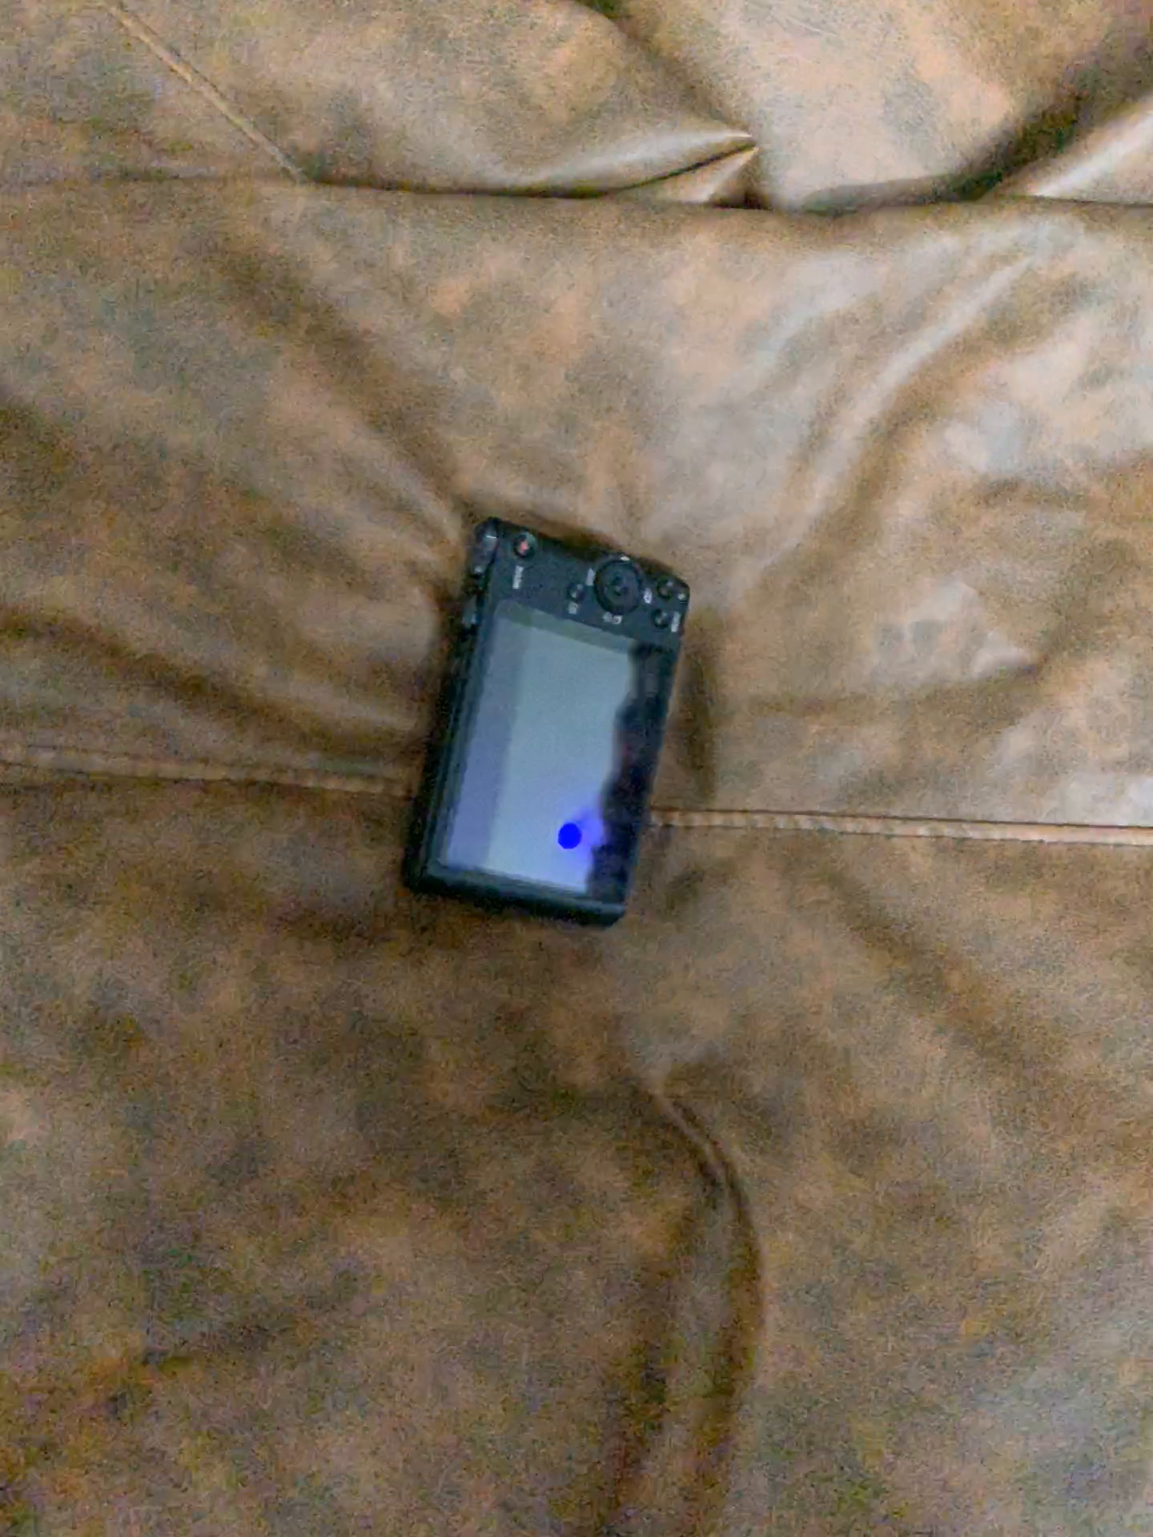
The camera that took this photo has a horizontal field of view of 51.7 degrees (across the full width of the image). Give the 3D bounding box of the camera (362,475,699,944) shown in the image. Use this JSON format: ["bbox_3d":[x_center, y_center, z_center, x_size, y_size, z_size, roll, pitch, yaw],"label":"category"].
[{"bbox_3d":[-0.011,-0.013,0.292,0.060,0.024,0.100,13,83,-13],"label":"camera"}]
